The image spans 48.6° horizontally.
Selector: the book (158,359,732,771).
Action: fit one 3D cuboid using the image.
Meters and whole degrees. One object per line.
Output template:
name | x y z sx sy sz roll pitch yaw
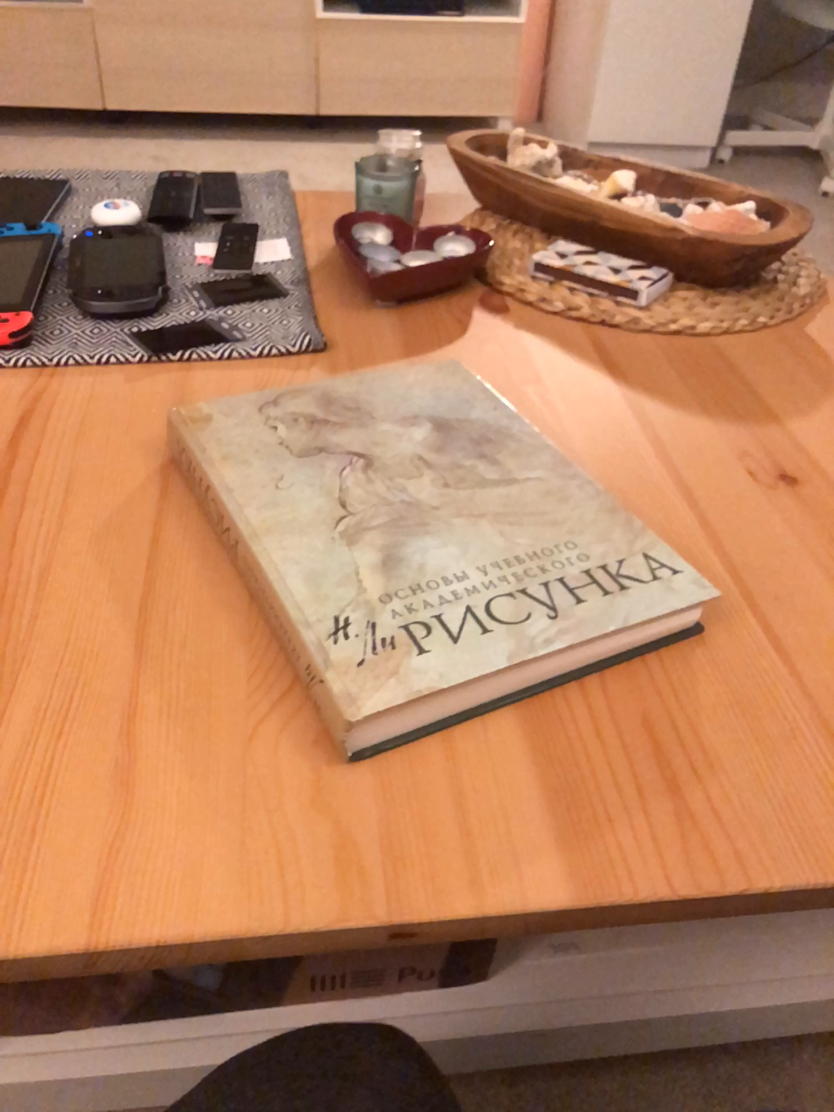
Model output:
book | 0.000 -0.023 0.522 0.214 0.030 0.272 -15 43 -25
